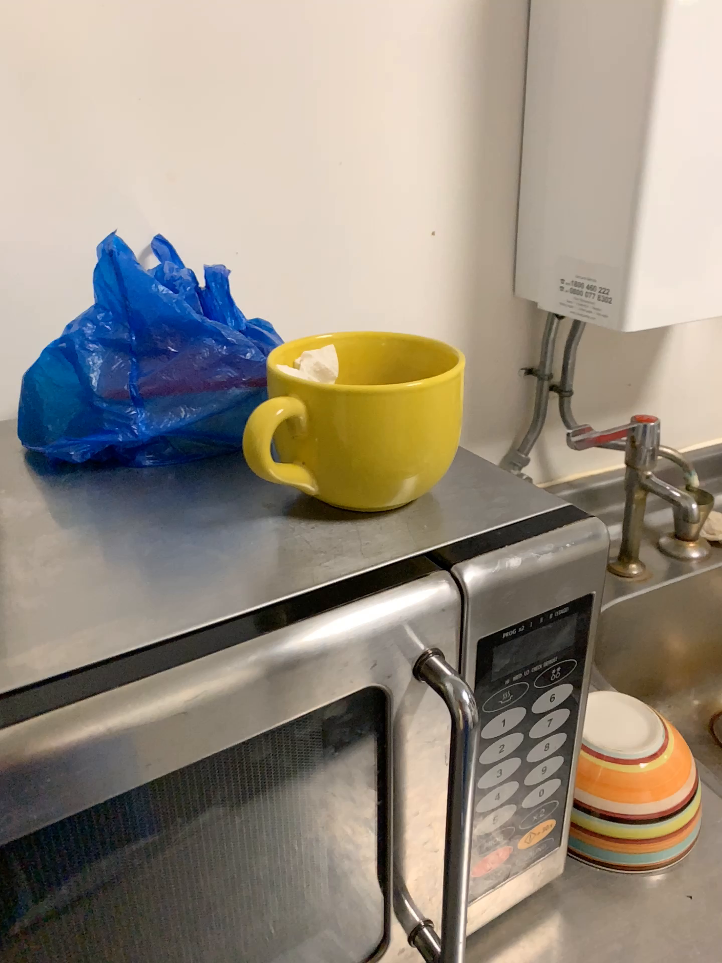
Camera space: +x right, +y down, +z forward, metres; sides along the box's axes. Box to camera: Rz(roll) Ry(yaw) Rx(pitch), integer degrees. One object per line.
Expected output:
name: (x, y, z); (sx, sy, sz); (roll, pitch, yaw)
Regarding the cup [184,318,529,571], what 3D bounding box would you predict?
cup: (-0.004, -0.032, 0.428); (0.155, 0.082, 0.116); (-16, 28, -29)
